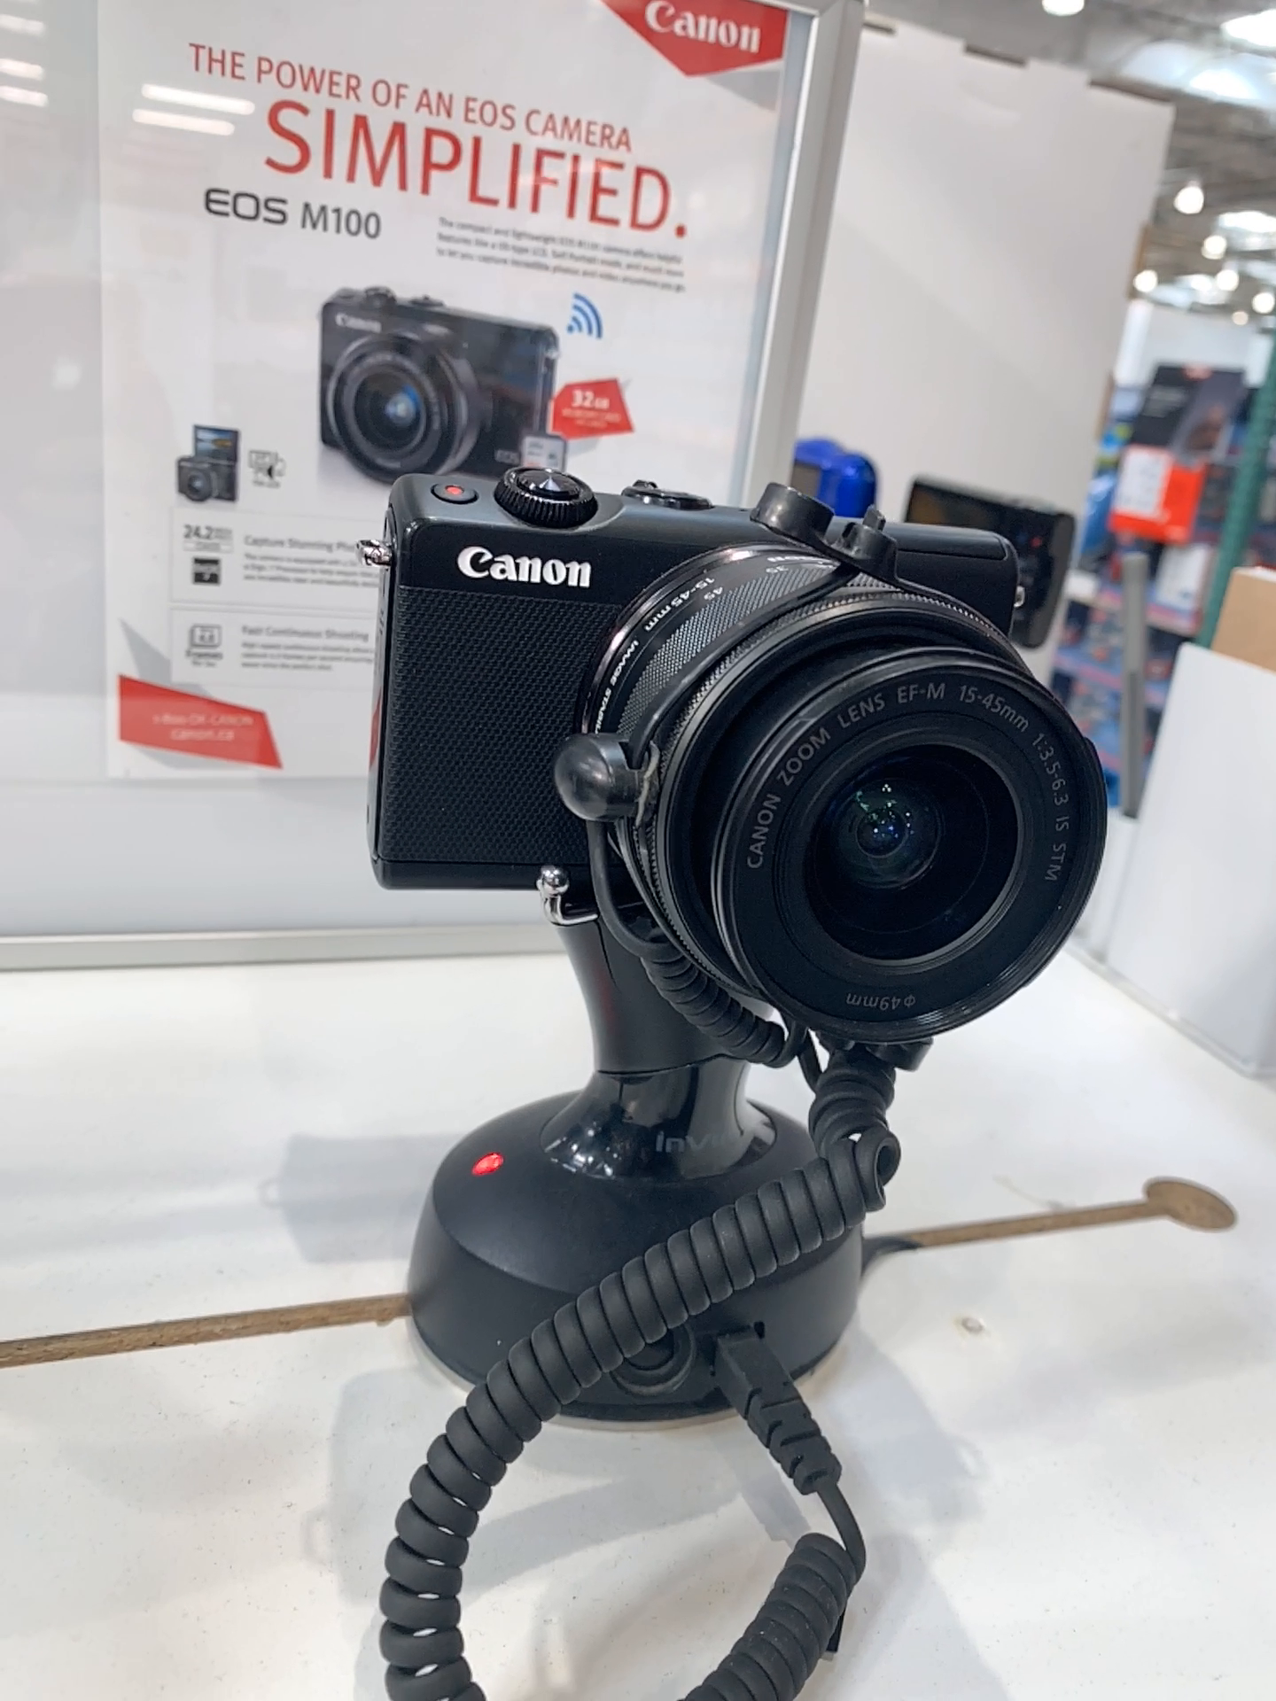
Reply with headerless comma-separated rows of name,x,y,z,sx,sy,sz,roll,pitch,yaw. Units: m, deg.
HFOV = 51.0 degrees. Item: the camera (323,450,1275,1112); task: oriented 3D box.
camera,0.016,-0.016,0.190,0.110,0.066,0.093,2,15,-17
